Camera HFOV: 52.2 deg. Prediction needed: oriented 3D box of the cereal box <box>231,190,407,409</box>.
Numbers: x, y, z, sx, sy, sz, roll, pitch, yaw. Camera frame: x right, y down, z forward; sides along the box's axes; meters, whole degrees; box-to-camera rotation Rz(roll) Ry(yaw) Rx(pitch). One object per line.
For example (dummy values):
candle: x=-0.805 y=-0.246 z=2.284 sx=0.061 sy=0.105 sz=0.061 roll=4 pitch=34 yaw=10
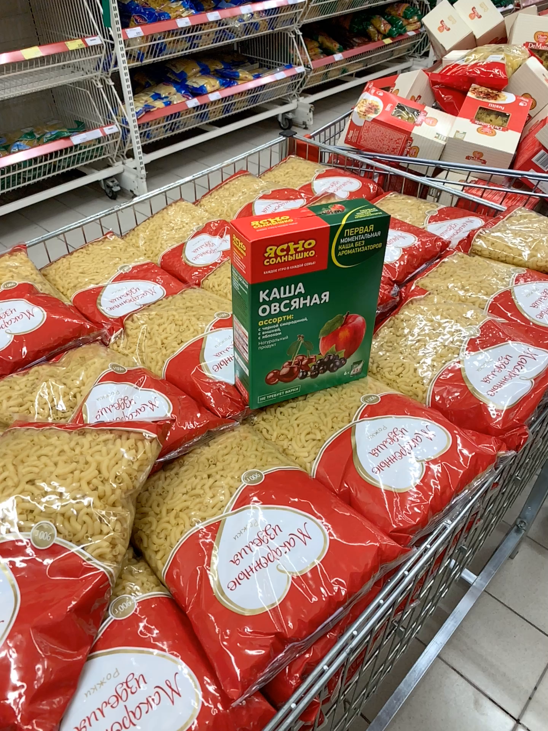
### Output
cereal box: x=0.043 y=-0.069 z=0.597 sx=0.160 sy=0.198 sz=0.060 roll=-15 pitch=38 yaw=-21
